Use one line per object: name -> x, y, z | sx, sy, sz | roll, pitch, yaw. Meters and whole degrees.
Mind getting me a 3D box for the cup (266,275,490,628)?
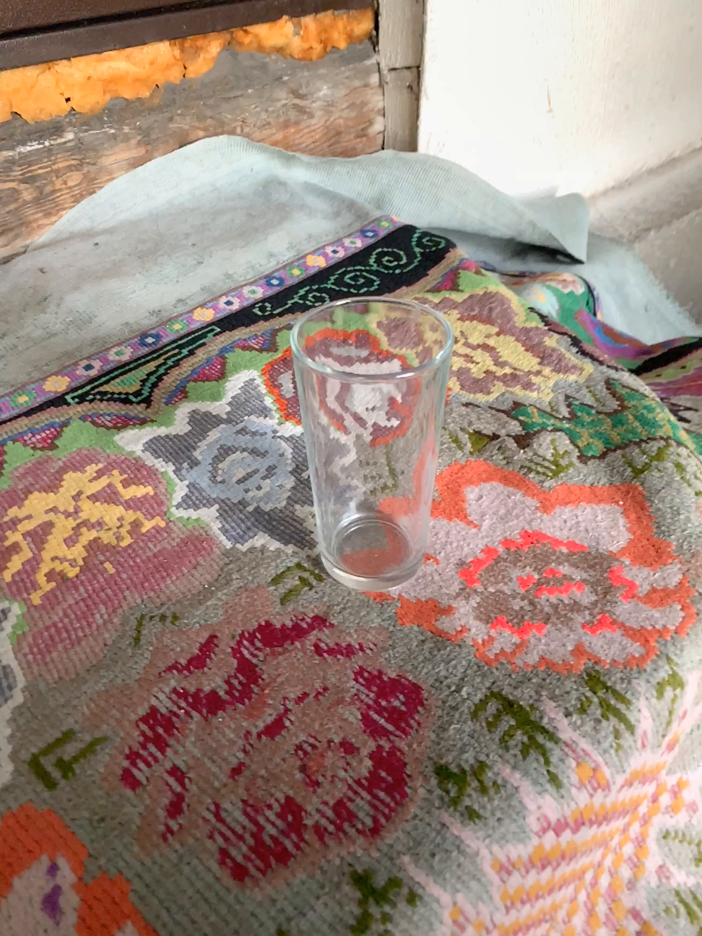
cup -> 0.009, -0.005, 0.291 | 0.060, 0.119, 0.060 | -1, 40, 1
